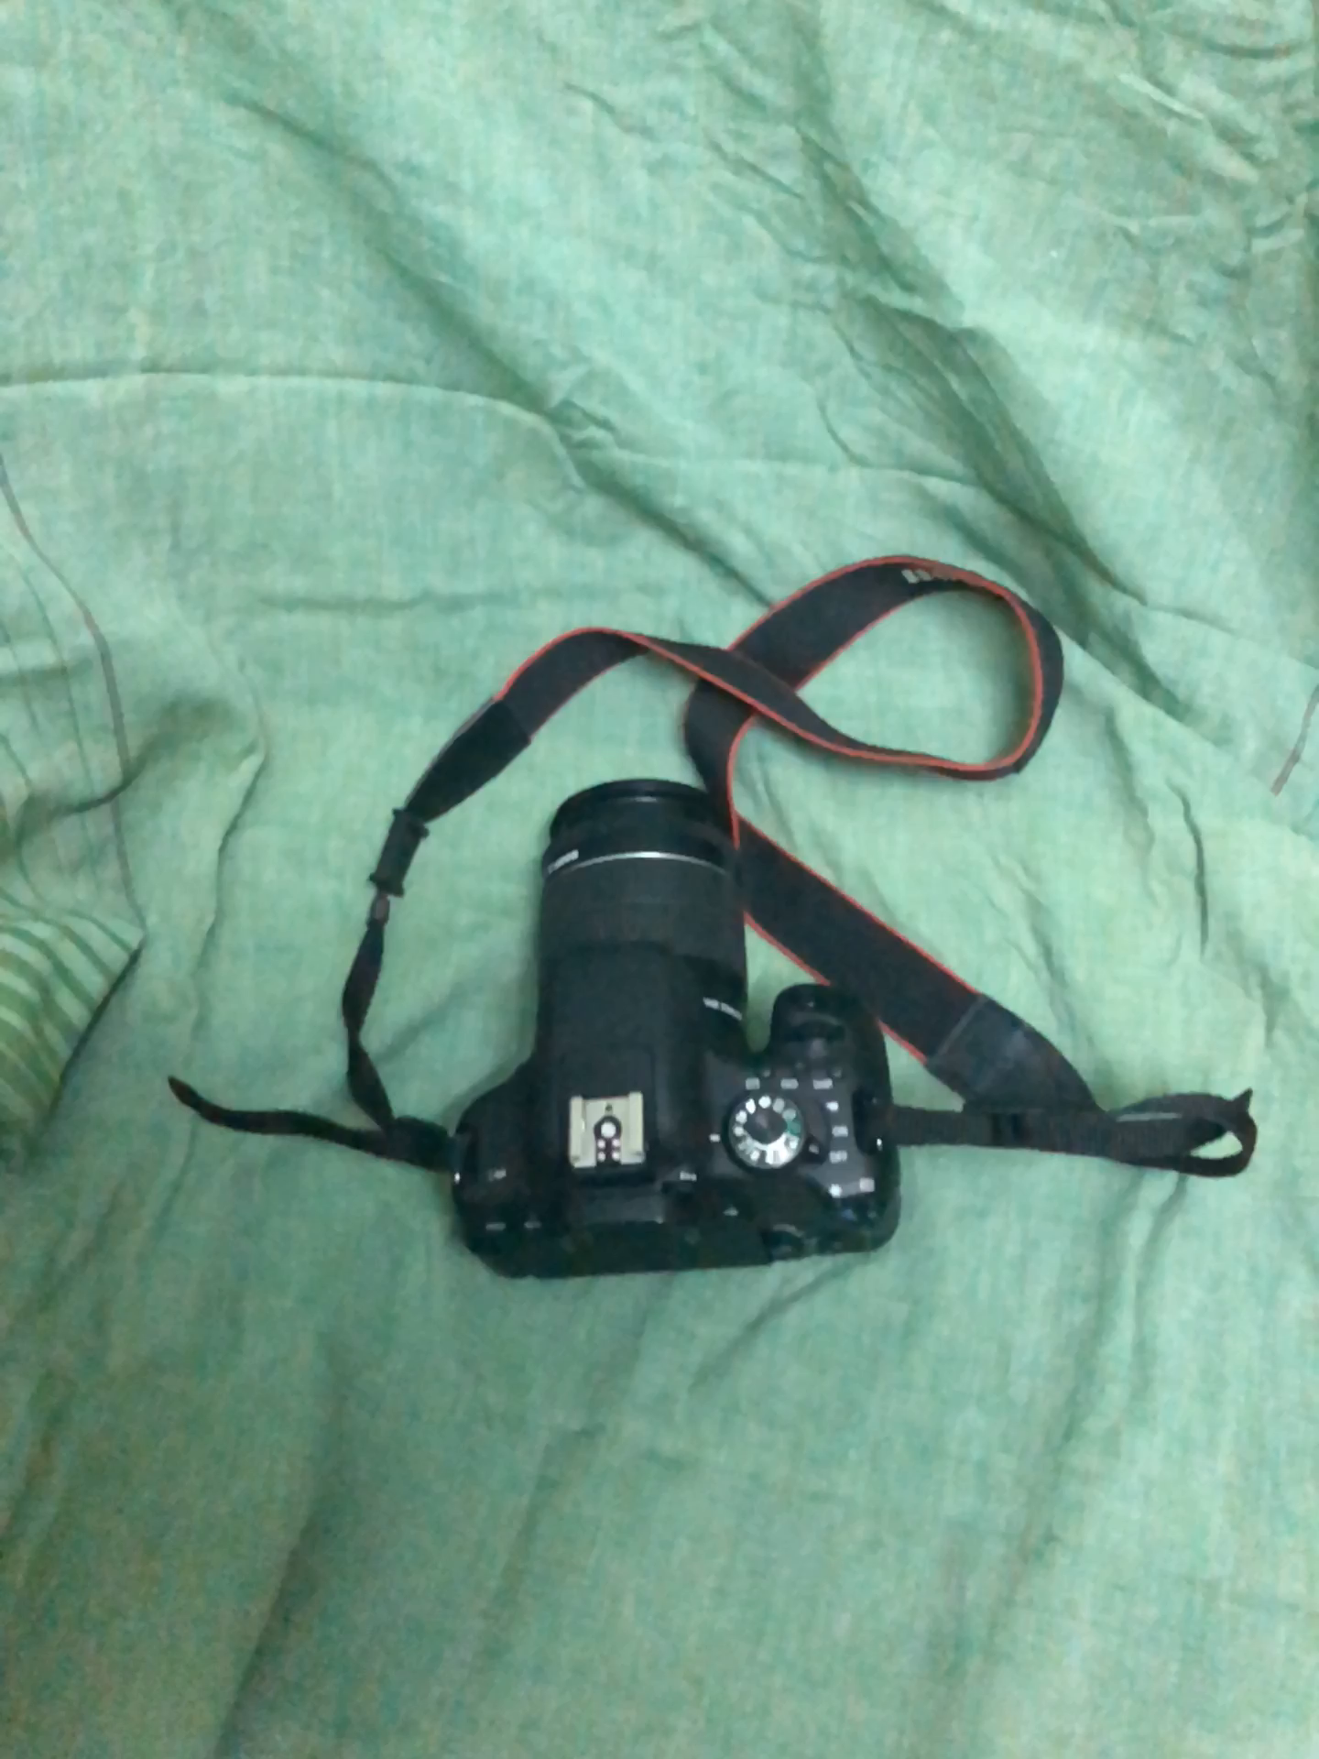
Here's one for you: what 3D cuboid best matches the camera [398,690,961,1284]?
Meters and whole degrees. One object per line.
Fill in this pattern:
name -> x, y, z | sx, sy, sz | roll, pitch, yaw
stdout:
camera -> 0.005, 0.037, 0.443 | 0.142, 0.100, 0.144 | -5, 65, 3
